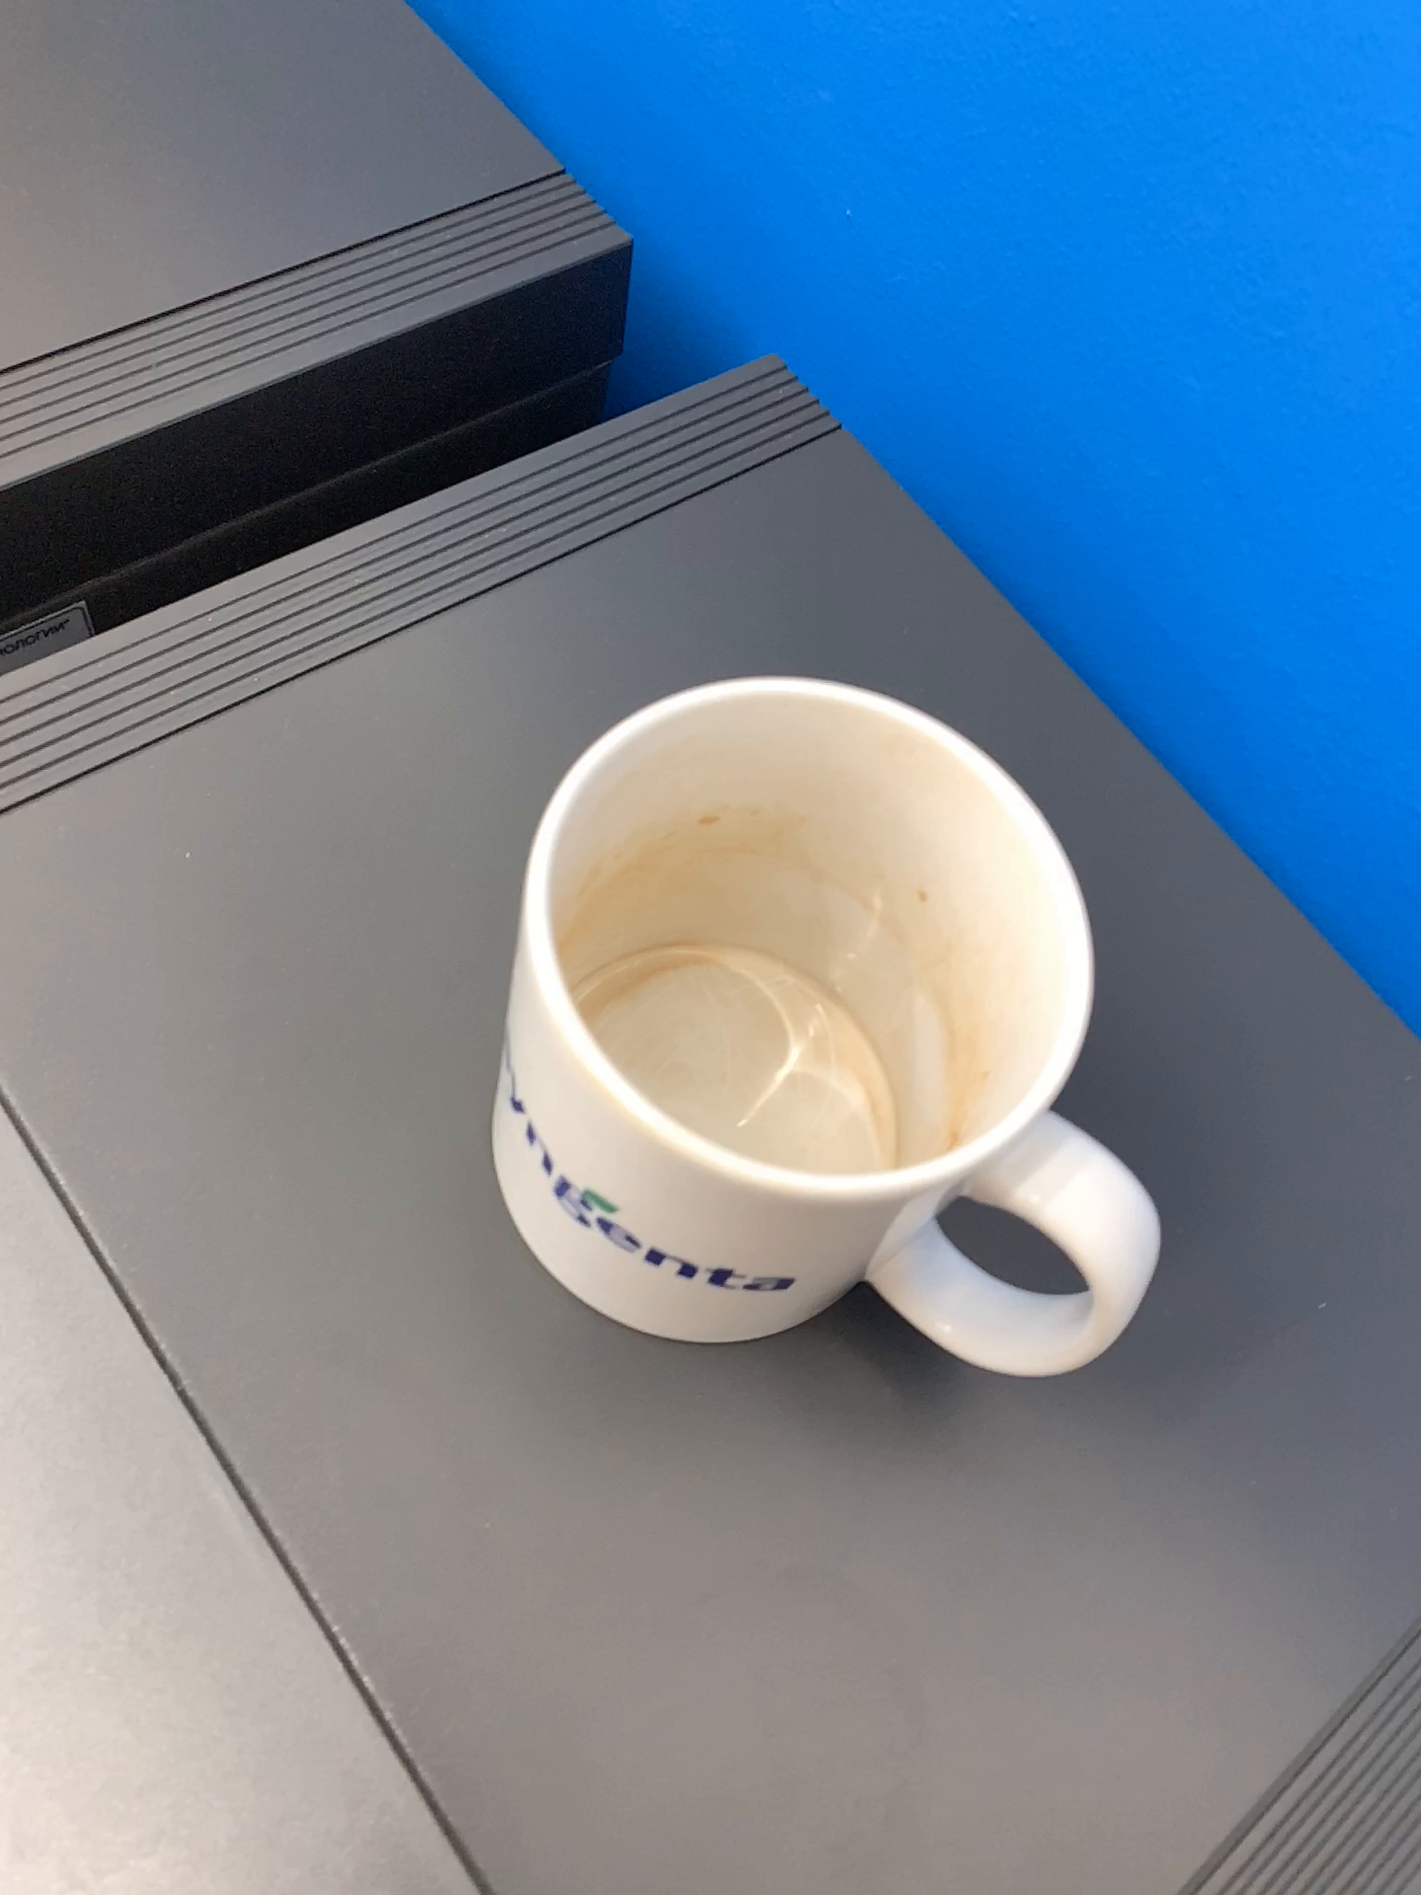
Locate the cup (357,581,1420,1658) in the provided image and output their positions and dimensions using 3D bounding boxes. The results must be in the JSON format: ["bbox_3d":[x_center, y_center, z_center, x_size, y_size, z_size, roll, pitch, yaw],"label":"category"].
[{"bbox_3d":[0.022,0.032,0.242,0.131,0.094,0.088,41,63,10],"label":"cup"}]
